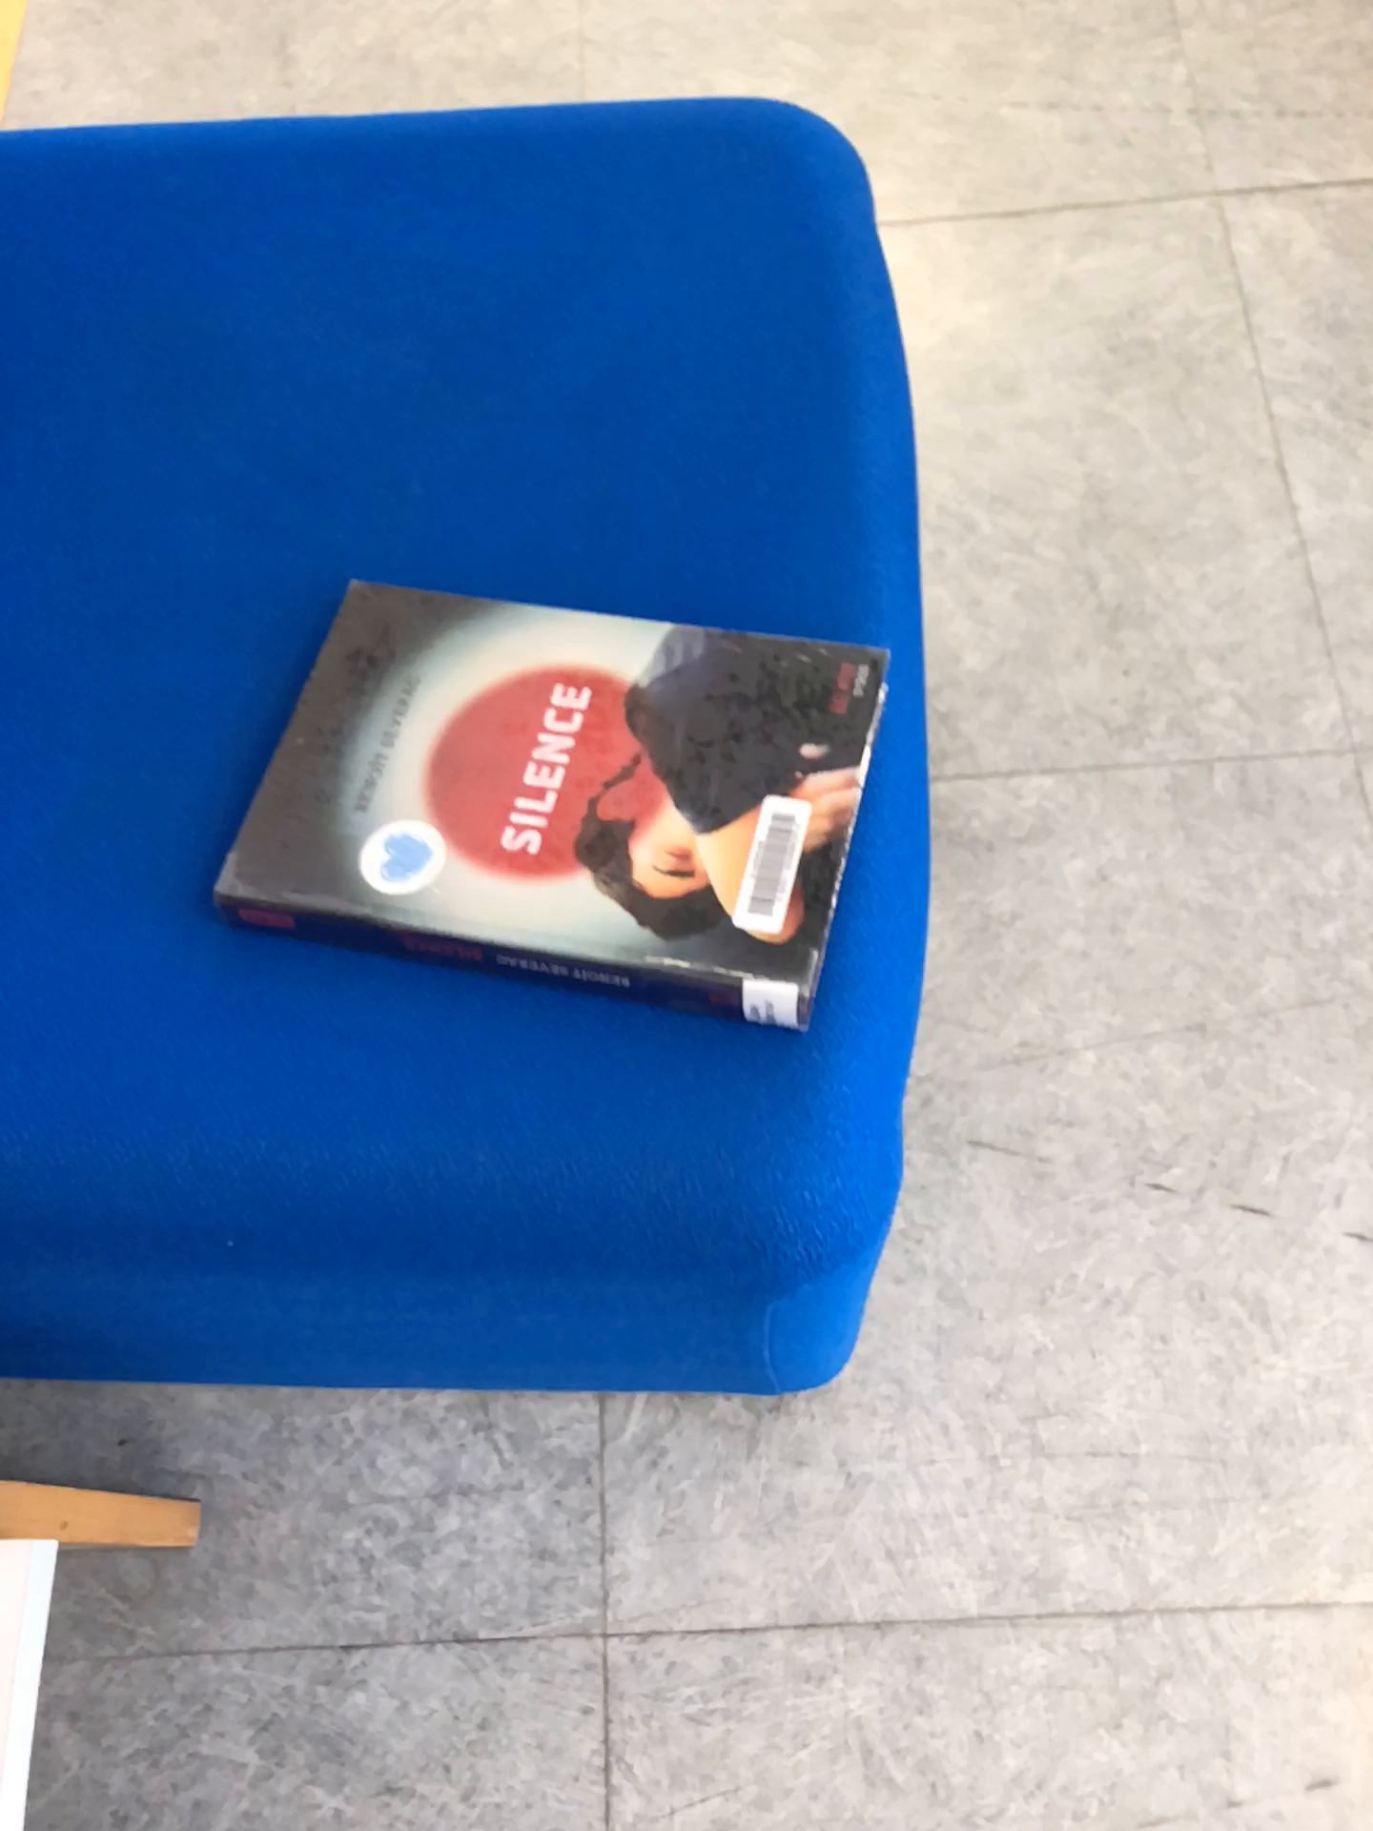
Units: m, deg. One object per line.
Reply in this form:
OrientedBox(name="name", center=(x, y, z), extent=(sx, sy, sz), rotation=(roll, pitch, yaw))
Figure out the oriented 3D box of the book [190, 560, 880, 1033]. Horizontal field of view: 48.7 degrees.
OrientedBox(name="book", center=(-0.049, -0.049, 0.539), extent=(0.211, 0.024, 0.147), rotation=(10, 64, 11))
